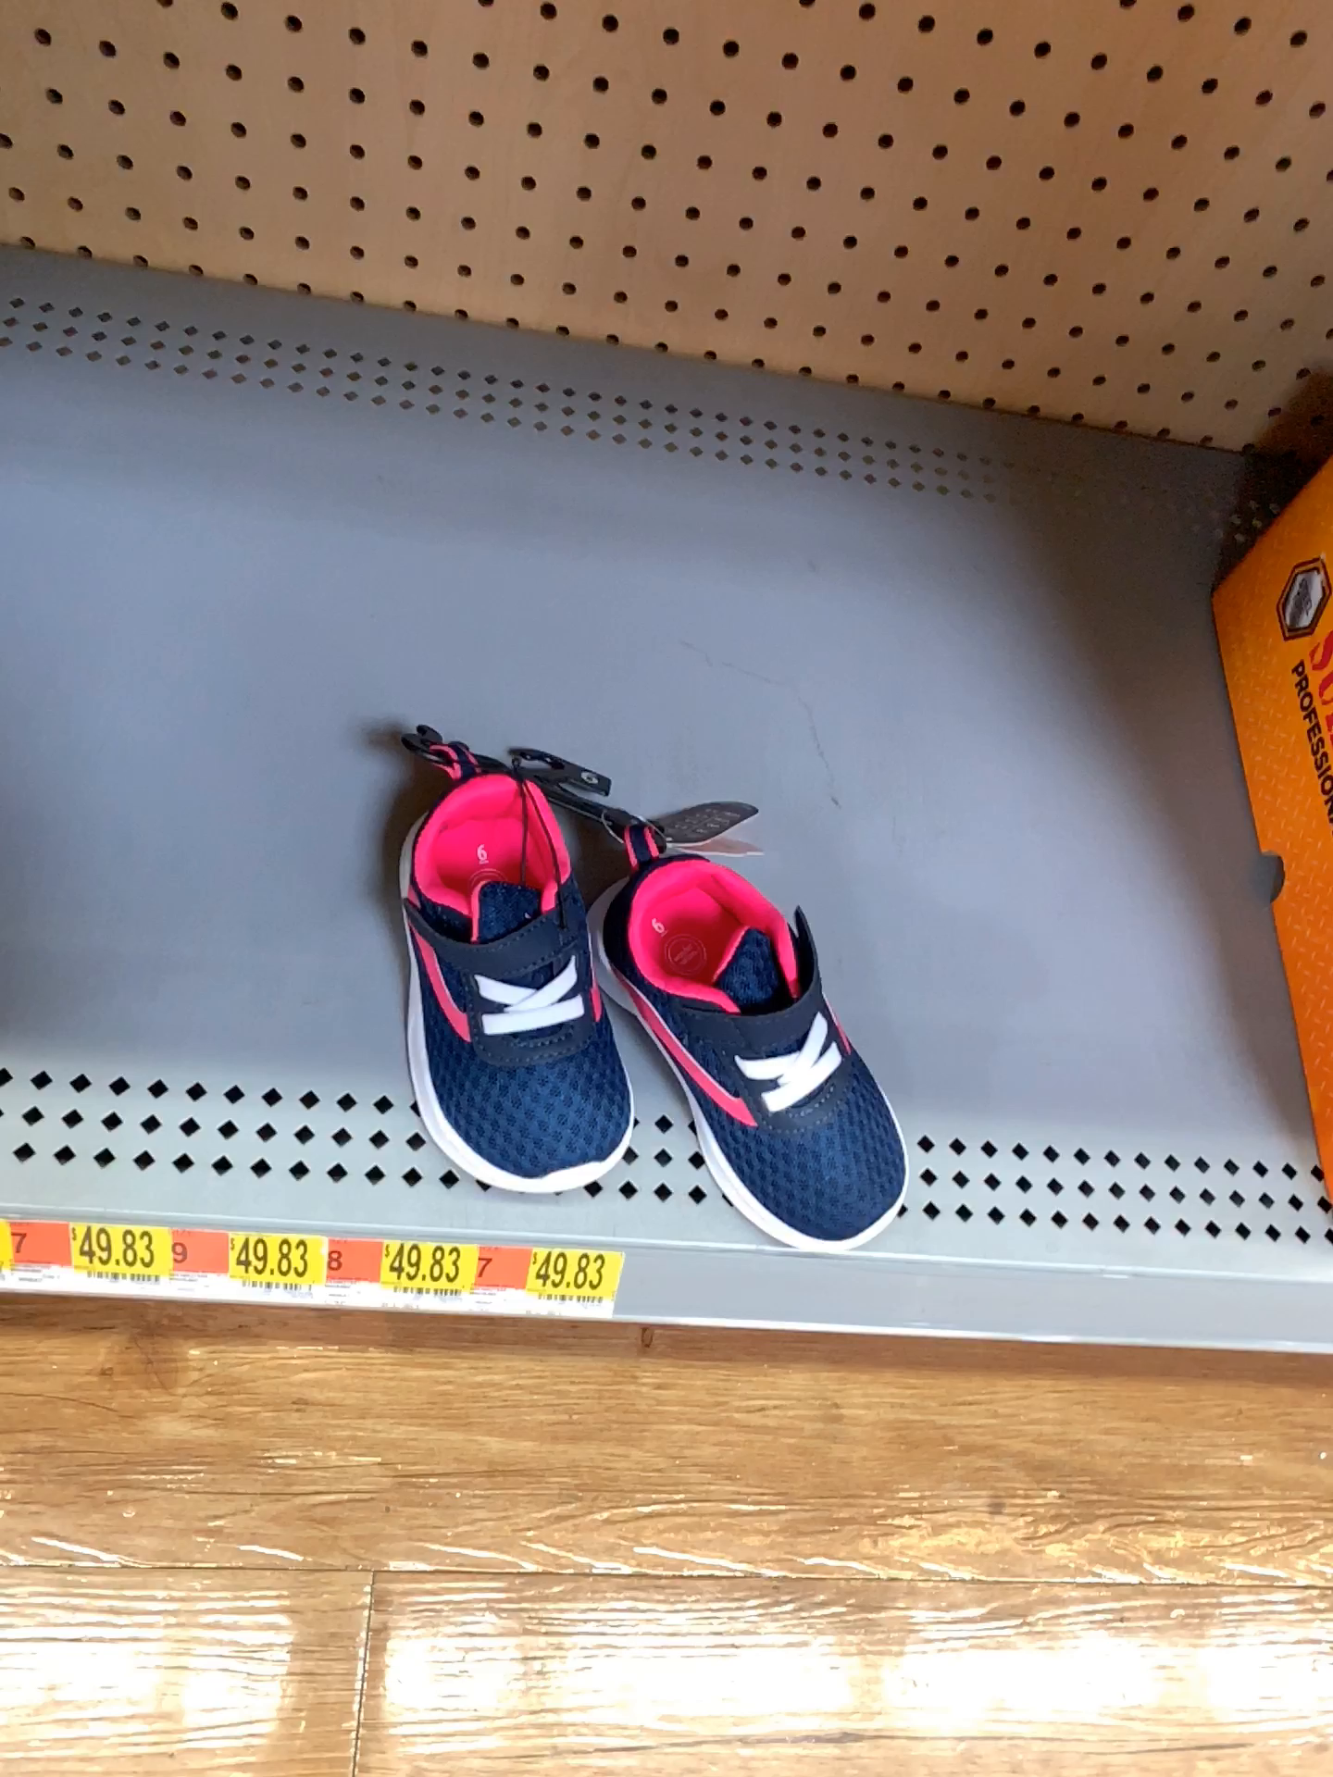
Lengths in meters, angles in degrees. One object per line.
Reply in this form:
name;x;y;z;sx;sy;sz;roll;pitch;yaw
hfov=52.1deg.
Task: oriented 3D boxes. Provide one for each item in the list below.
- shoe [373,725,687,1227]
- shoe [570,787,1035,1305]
shoe;-0.051;0.027;0.455;0.073;0.064;0.146;-7;64;-16
shoe;0.040;0.052;0.462;0.073;0.064;0.146;-27;71;-24
